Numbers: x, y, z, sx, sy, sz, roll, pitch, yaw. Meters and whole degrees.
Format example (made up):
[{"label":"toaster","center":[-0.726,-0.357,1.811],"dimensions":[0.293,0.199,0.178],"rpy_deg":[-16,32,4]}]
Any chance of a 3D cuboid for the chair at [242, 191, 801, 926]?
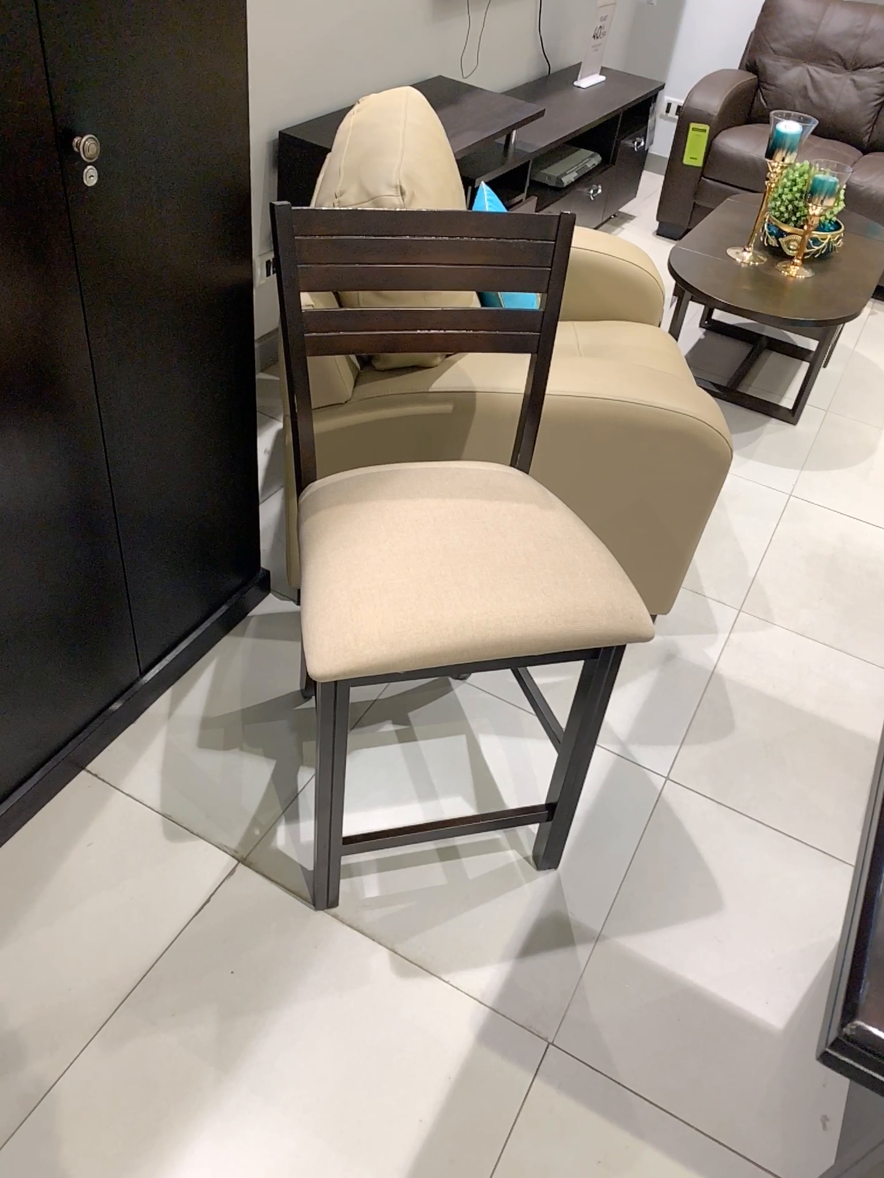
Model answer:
[{"label":"chair","center":[0.003,-0.032,1.391],"dimensions":[0.520,0.917,0.592],"rpy_deg":[-6,43,-16]}]
